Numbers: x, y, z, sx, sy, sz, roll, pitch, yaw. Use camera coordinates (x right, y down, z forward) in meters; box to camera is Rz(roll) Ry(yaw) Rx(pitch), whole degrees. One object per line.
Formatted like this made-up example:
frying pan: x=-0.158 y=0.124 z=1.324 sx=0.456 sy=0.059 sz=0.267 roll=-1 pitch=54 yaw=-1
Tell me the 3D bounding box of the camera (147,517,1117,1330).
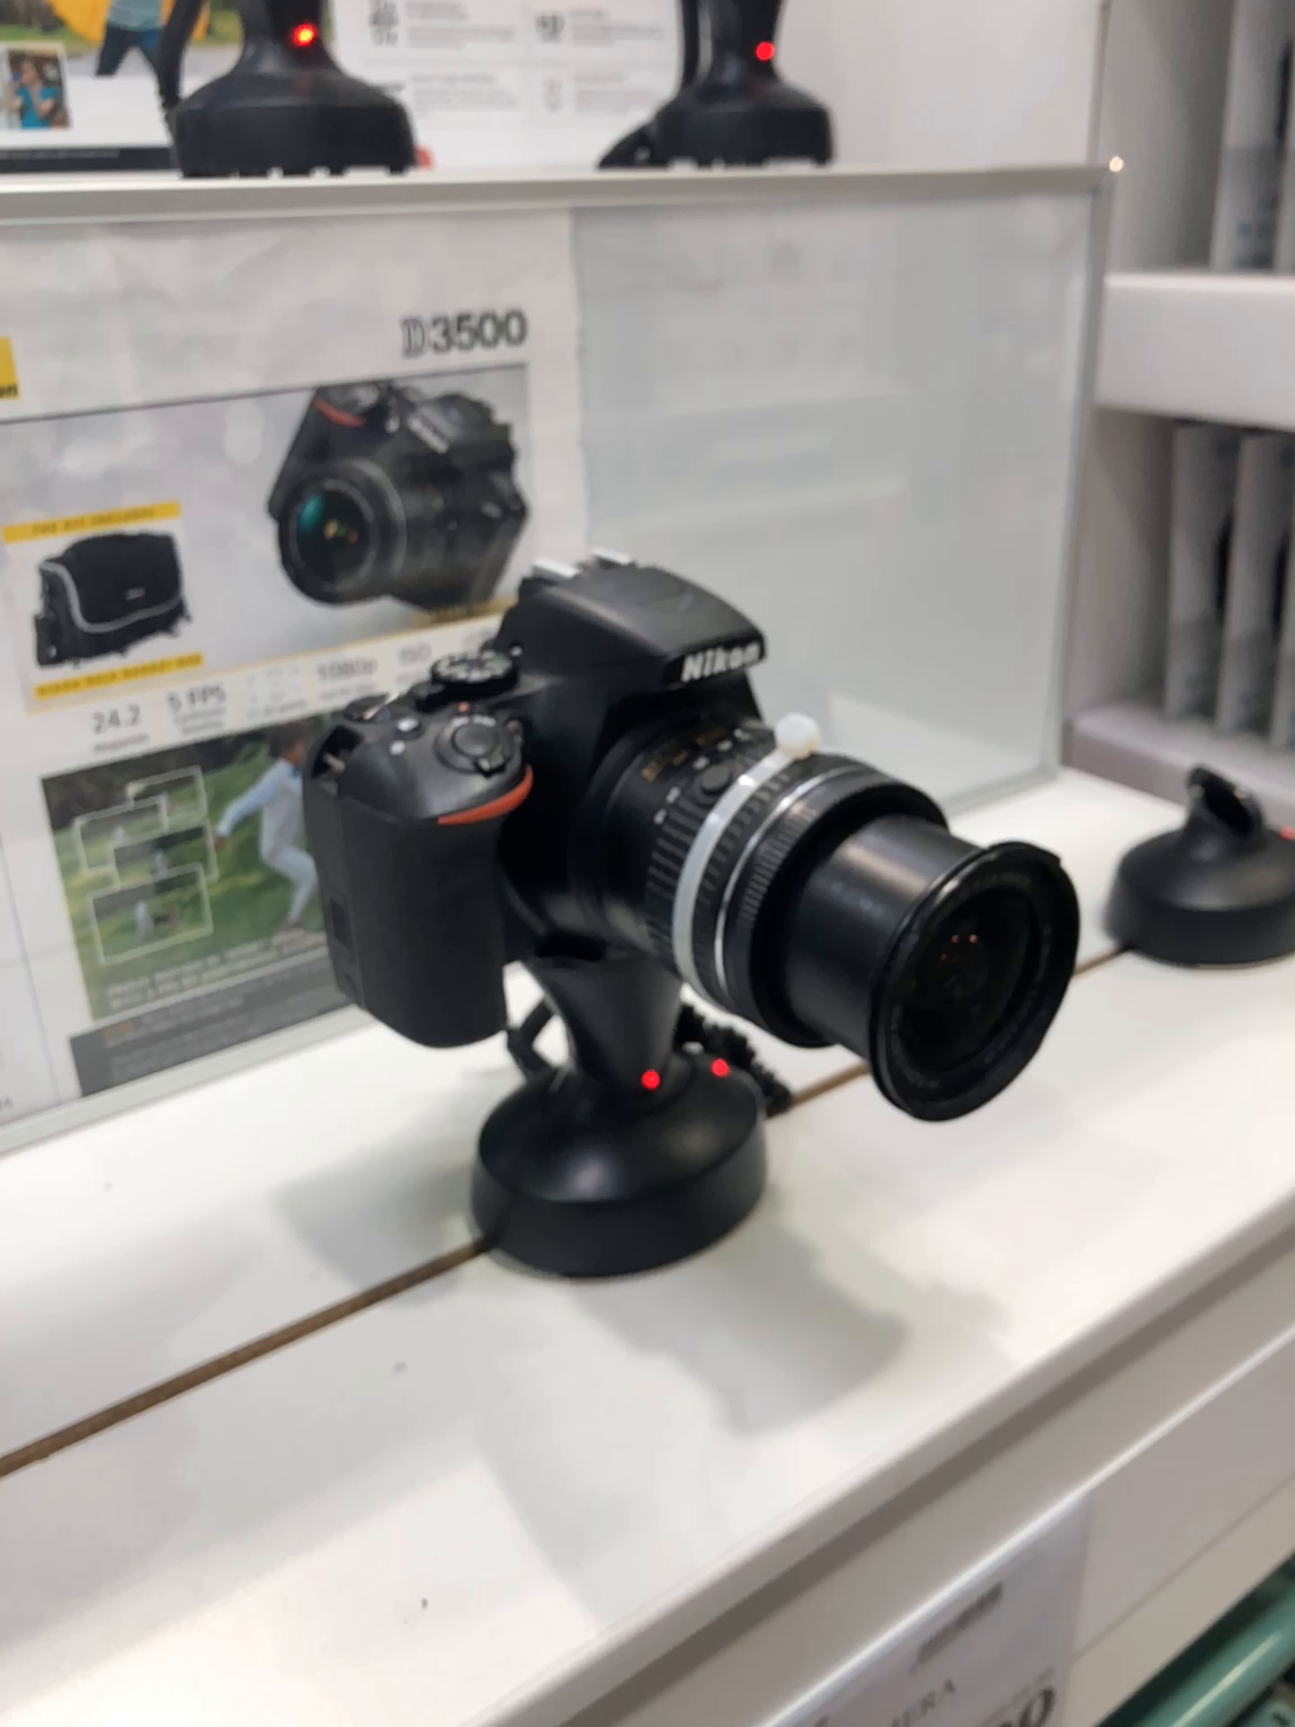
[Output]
camera: x=-0.011 y=-0.009 z=0.365 sx=0.140 sy=0.110 sz=0.191 roll=-20 pitch=30 yaw=-35
